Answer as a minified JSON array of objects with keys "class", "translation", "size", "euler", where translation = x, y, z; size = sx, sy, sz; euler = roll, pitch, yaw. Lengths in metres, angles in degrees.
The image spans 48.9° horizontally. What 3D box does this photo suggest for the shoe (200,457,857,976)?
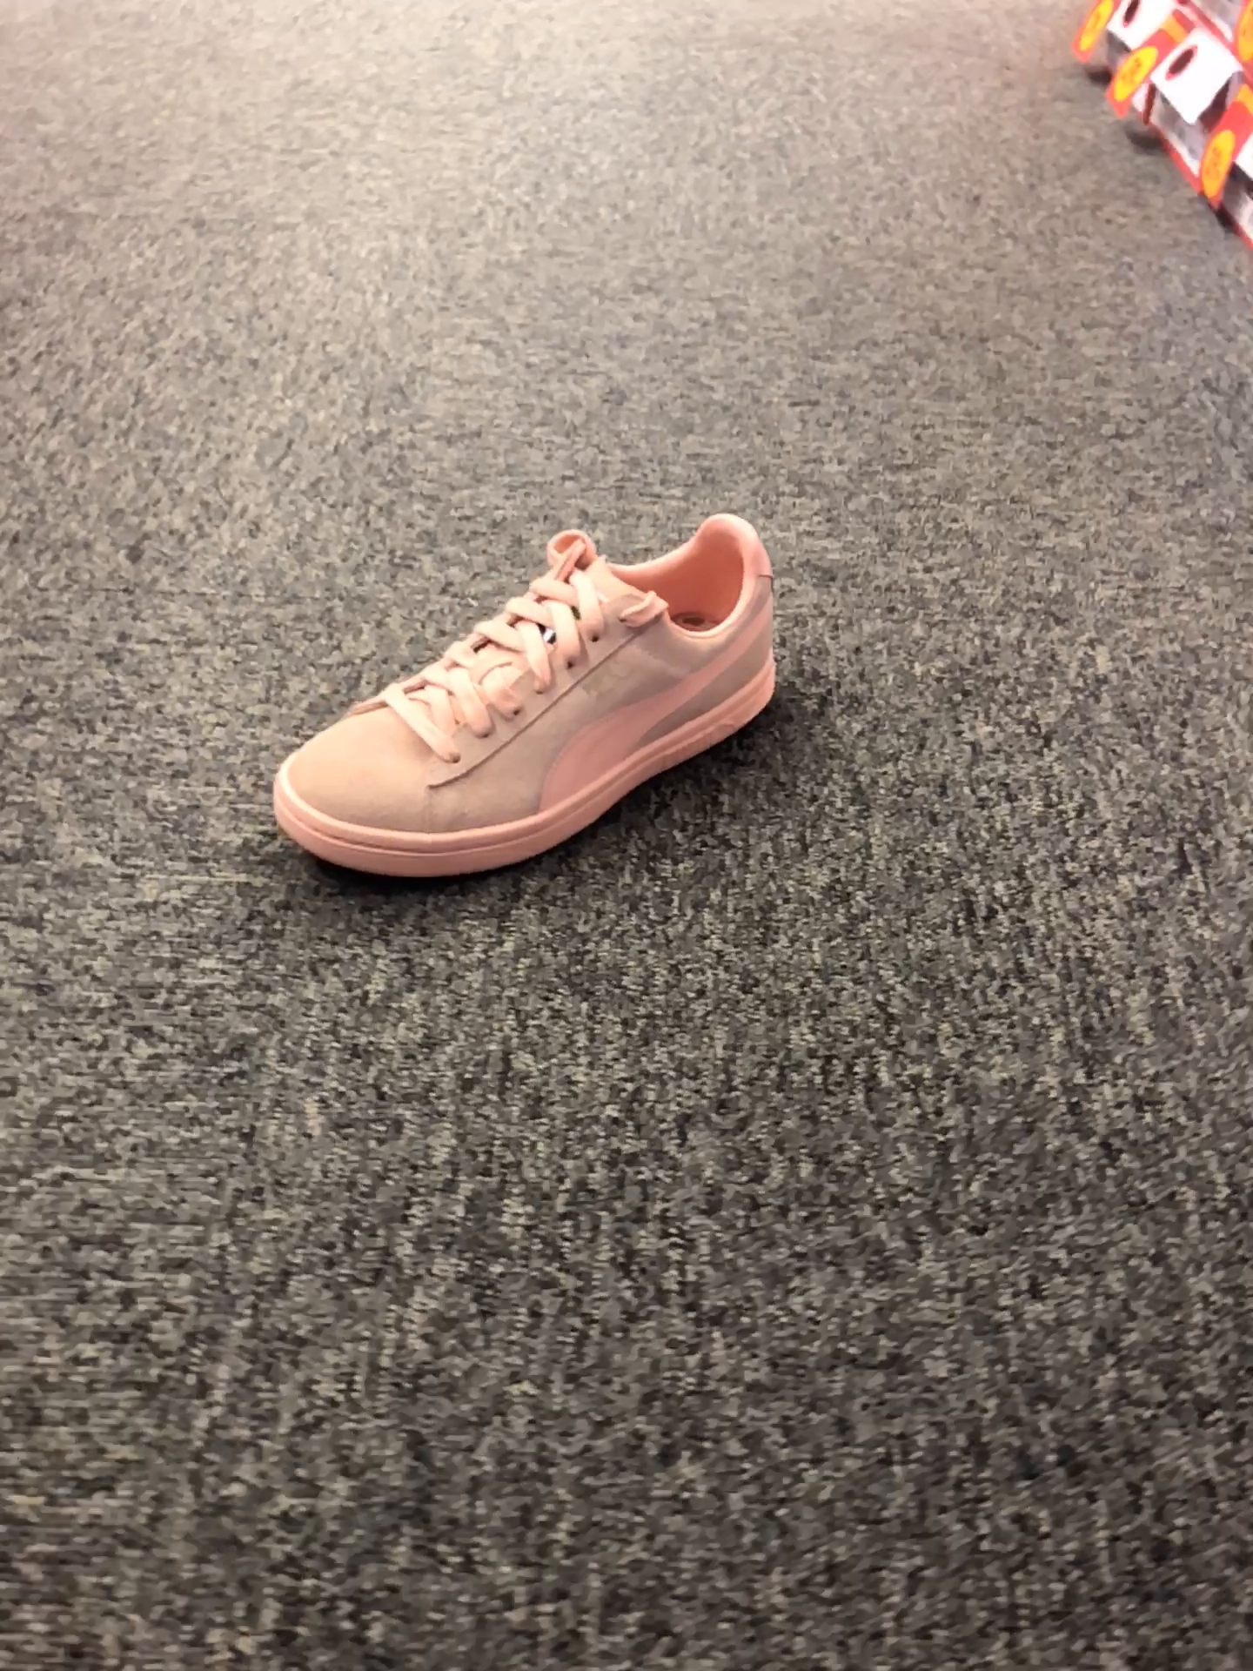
[{"class":"shoe","translation":[-0.033,-0.057,0.587],"size":[0.254,0.090,0.092],"euler":[-28,51,-19]}]
